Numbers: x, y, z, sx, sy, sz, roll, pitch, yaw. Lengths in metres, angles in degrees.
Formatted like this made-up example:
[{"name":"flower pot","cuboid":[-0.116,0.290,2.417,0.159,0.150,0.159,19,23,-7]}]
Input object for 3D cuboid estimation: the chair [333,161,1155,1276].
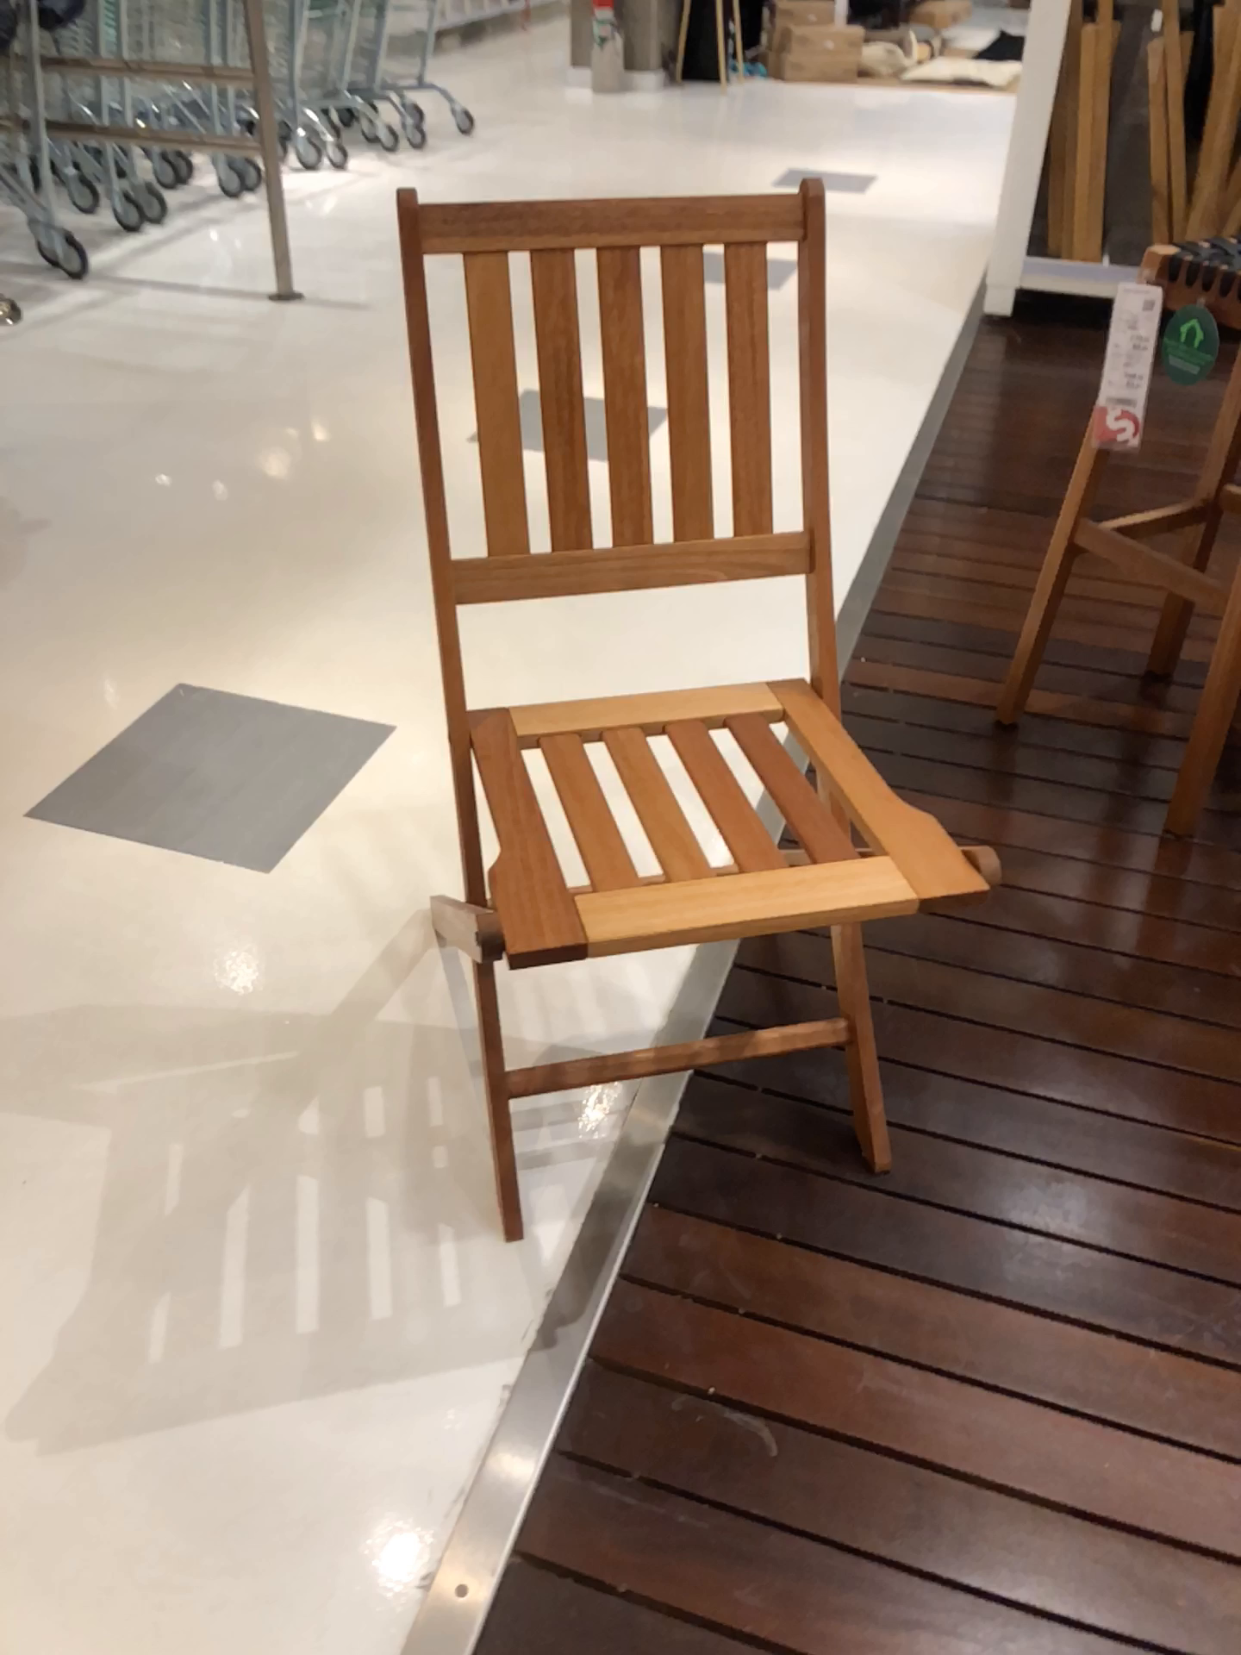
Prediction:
[{"name":"chair","cuboid":[0.039,-0.125,1.355,0.500,0.863,0.604,-8,36,-12]}]
